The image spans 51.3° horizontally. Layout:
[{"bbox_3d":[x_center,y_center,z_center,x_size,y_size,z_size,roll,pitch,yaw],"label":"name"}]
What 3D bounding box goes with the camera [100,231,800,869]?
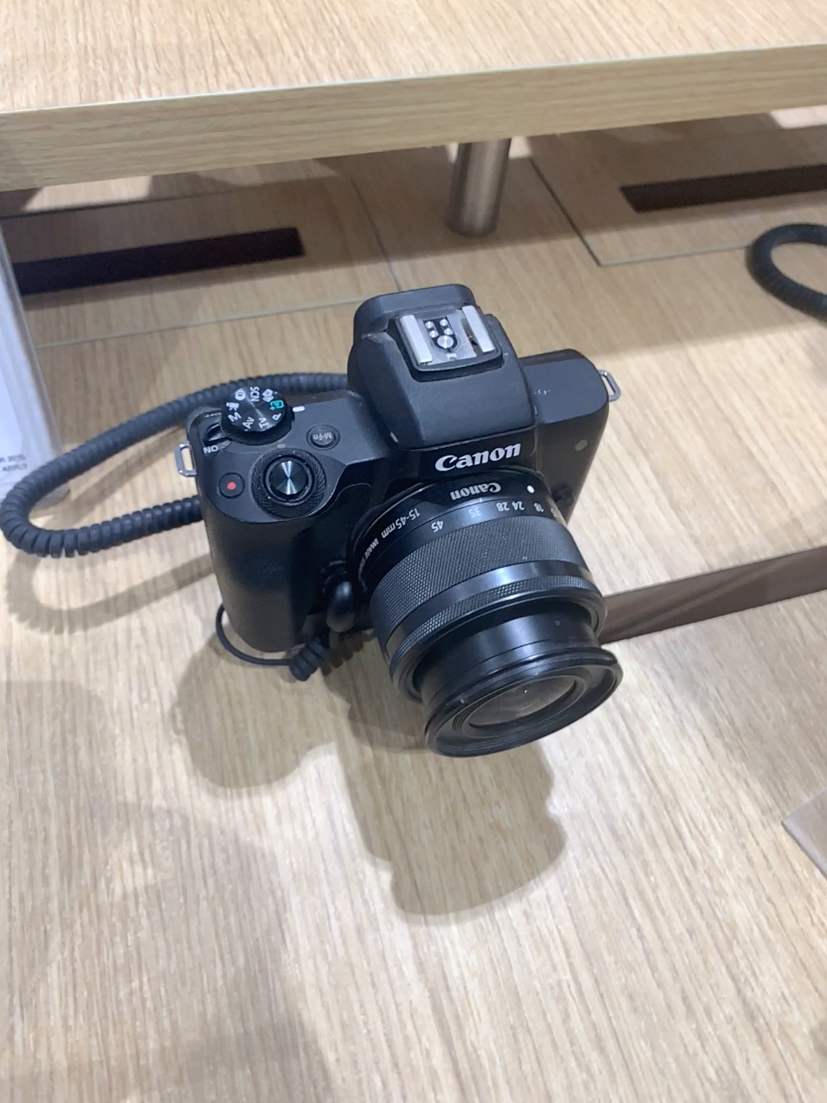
[{"bbox_3d":[0.000,0.000,0.222,0.120,0.100,0.100,-14,58,-14],"label":"camera"}]
